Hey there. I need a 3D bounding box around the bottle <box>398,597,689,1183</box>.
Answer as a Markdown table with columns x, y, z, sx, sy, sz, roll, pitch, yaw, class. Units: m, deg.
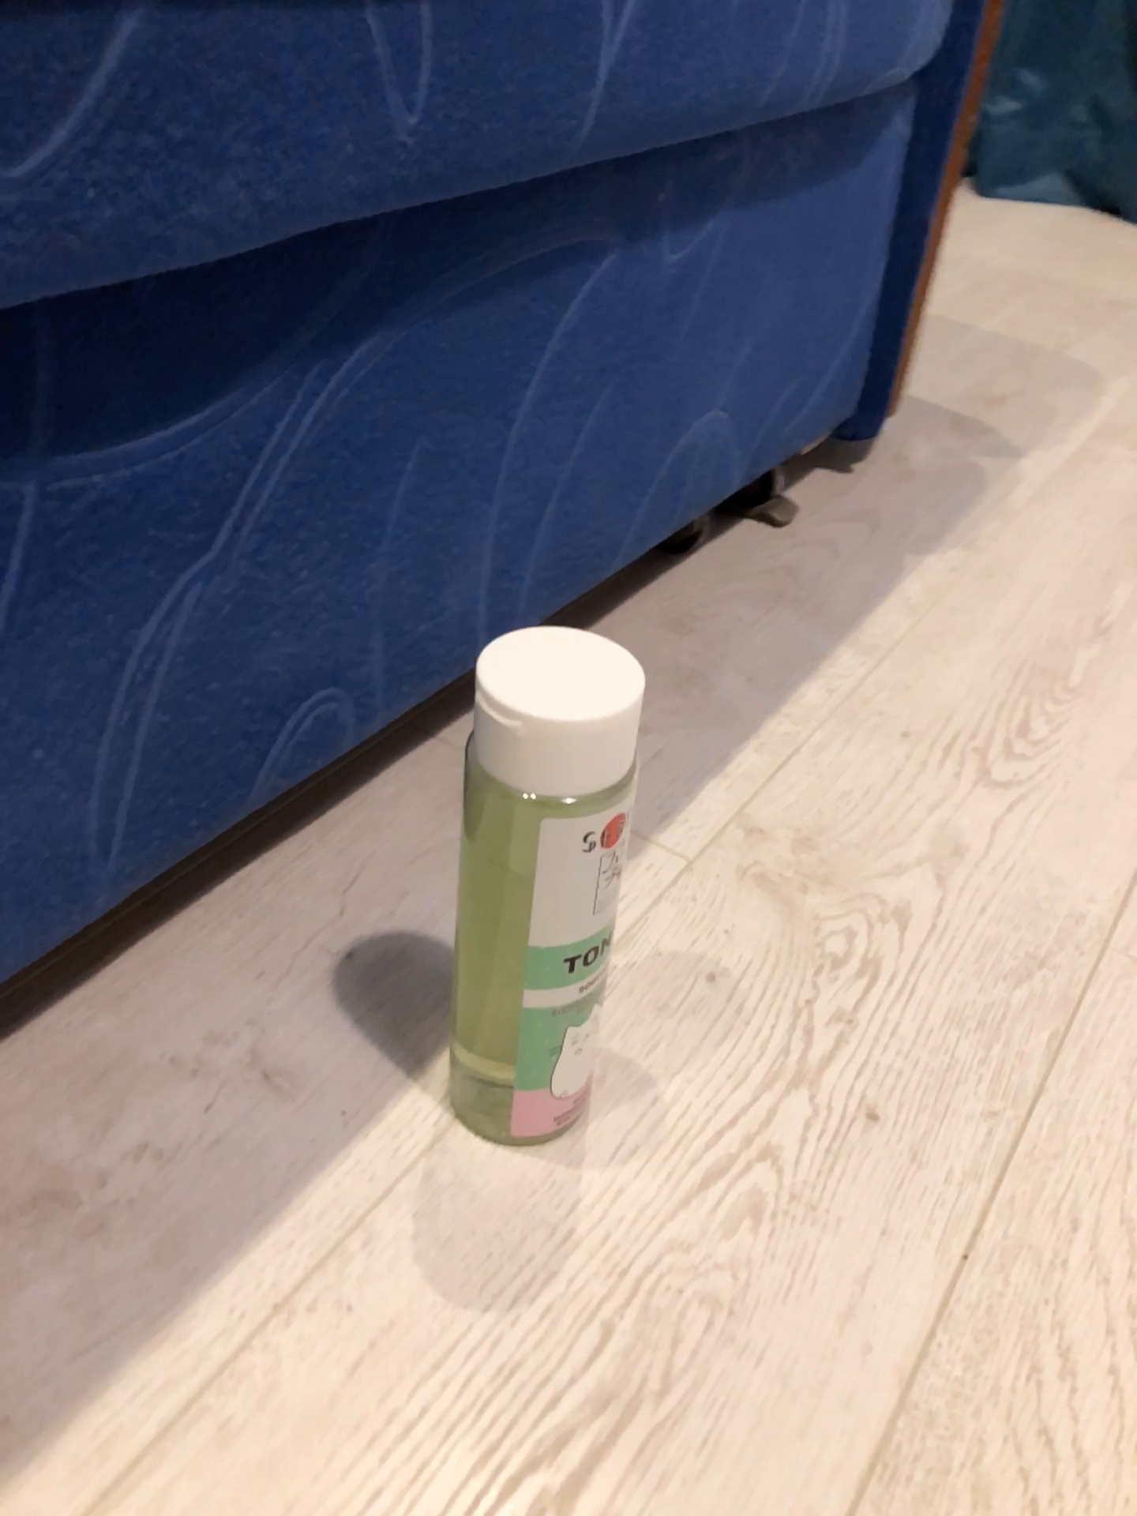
| x | y | z | sx | sy | sz | roll | pitch | yaw | class |
| --- | --- | --- | --- | --- | --- | --- | --- | --- | --- |
| -0.011 | 0.043 | 0.365 | 0.053 | 0.160 | 0.057 | 4 | 36 | -3 | bottle |
